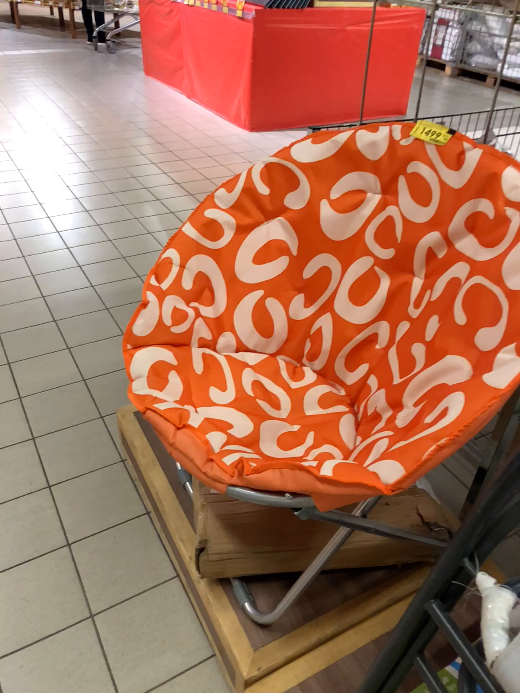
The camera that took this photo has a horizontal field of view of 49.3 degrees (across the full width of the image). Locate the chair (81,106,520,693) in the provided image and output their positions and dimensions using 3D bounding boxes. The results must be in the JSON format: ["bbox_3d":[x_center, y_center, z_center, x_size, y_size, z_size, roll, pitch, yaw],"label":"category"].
[{"bbox_3d":[0.149,-0.016,1.036,0.711,0.606,0.737,-13,38,-22],"label":"chair"}]
